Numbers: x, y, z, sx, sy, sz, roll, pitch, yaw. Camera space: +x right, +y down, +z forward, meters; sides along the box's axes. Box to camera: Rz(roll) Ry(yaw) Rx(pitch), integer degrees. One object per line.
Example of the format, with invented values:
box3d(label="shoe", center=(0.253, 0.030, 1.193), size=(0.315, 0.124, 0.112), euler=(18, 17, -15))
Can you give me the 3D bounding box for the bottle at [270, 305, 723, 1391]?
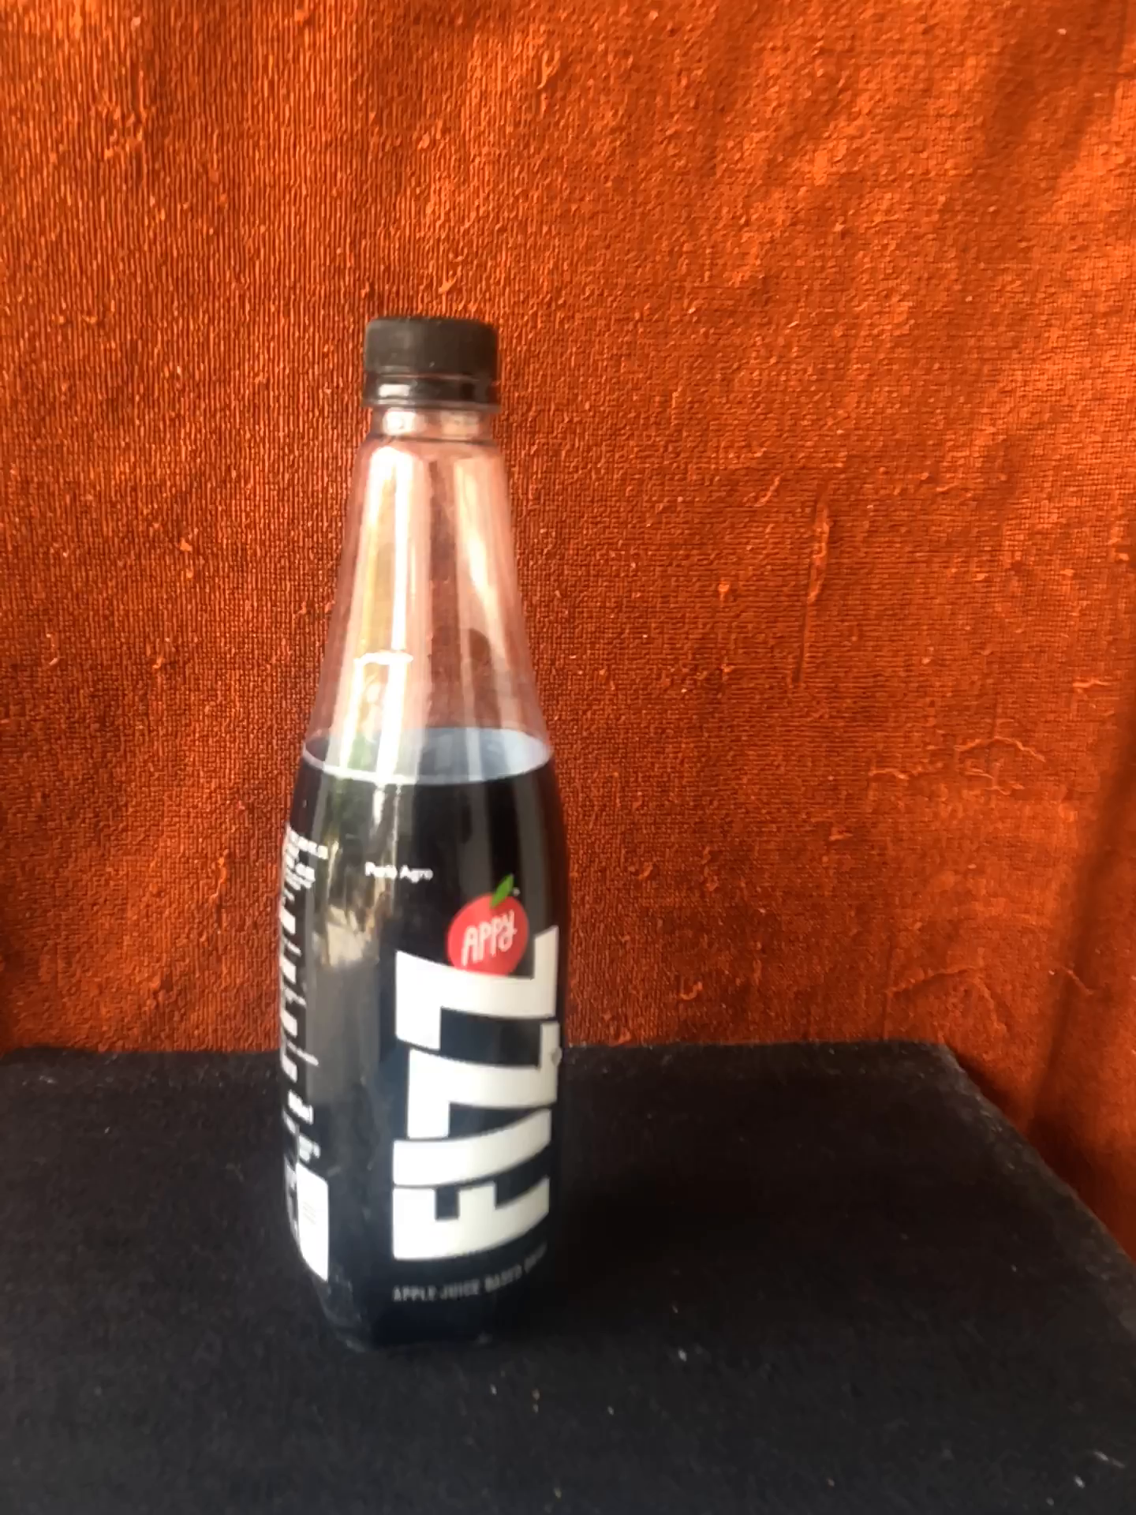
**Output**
box3d(label="bottle", center=(-0.022, 0.019, 0.280), size=(0.070, 0.219, 0.060), euler=(-5, 17, -30))
